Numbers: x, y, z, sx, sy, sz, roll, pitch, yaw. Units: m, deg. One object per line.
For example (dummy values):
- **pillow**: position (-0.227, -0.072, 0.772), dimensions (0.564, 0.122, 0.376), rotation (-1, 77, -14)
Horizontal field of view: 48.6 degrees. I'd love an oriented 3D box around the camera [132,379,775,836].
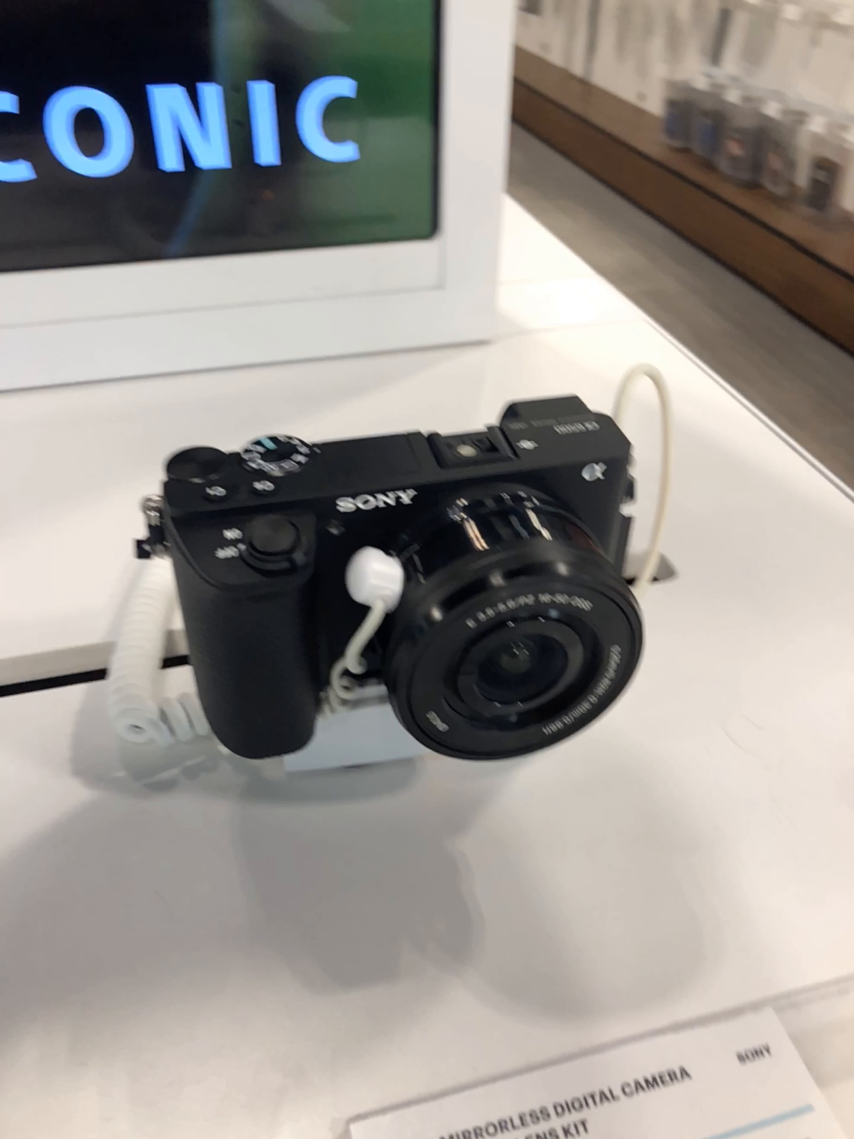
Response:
- **camera**: position (0.002, 0.004, 0.248), dimensions (0.140, 0.070, 0.070), rotation (-9, 38, -15)
